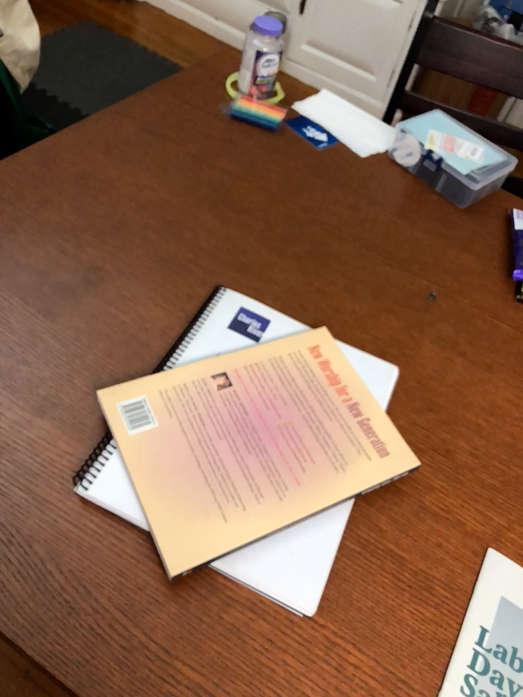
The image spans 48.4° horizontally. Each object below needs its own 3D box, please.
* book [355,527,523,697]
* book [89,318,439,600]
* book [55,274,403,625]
[{"bbox_3d":[0.211,0.293,0.415,0.200,0.010,0.271,31,51,12],"label":"book"},{"bbox_3d":[0.003,0.077,0.528,0.261,0.020,0.191,-16,57,-25],"label":"book"},{"bbox_3d":[-0.009,0.067,0.556,0.230,0.020,0.291,25,50,7],"label":"book"}]
